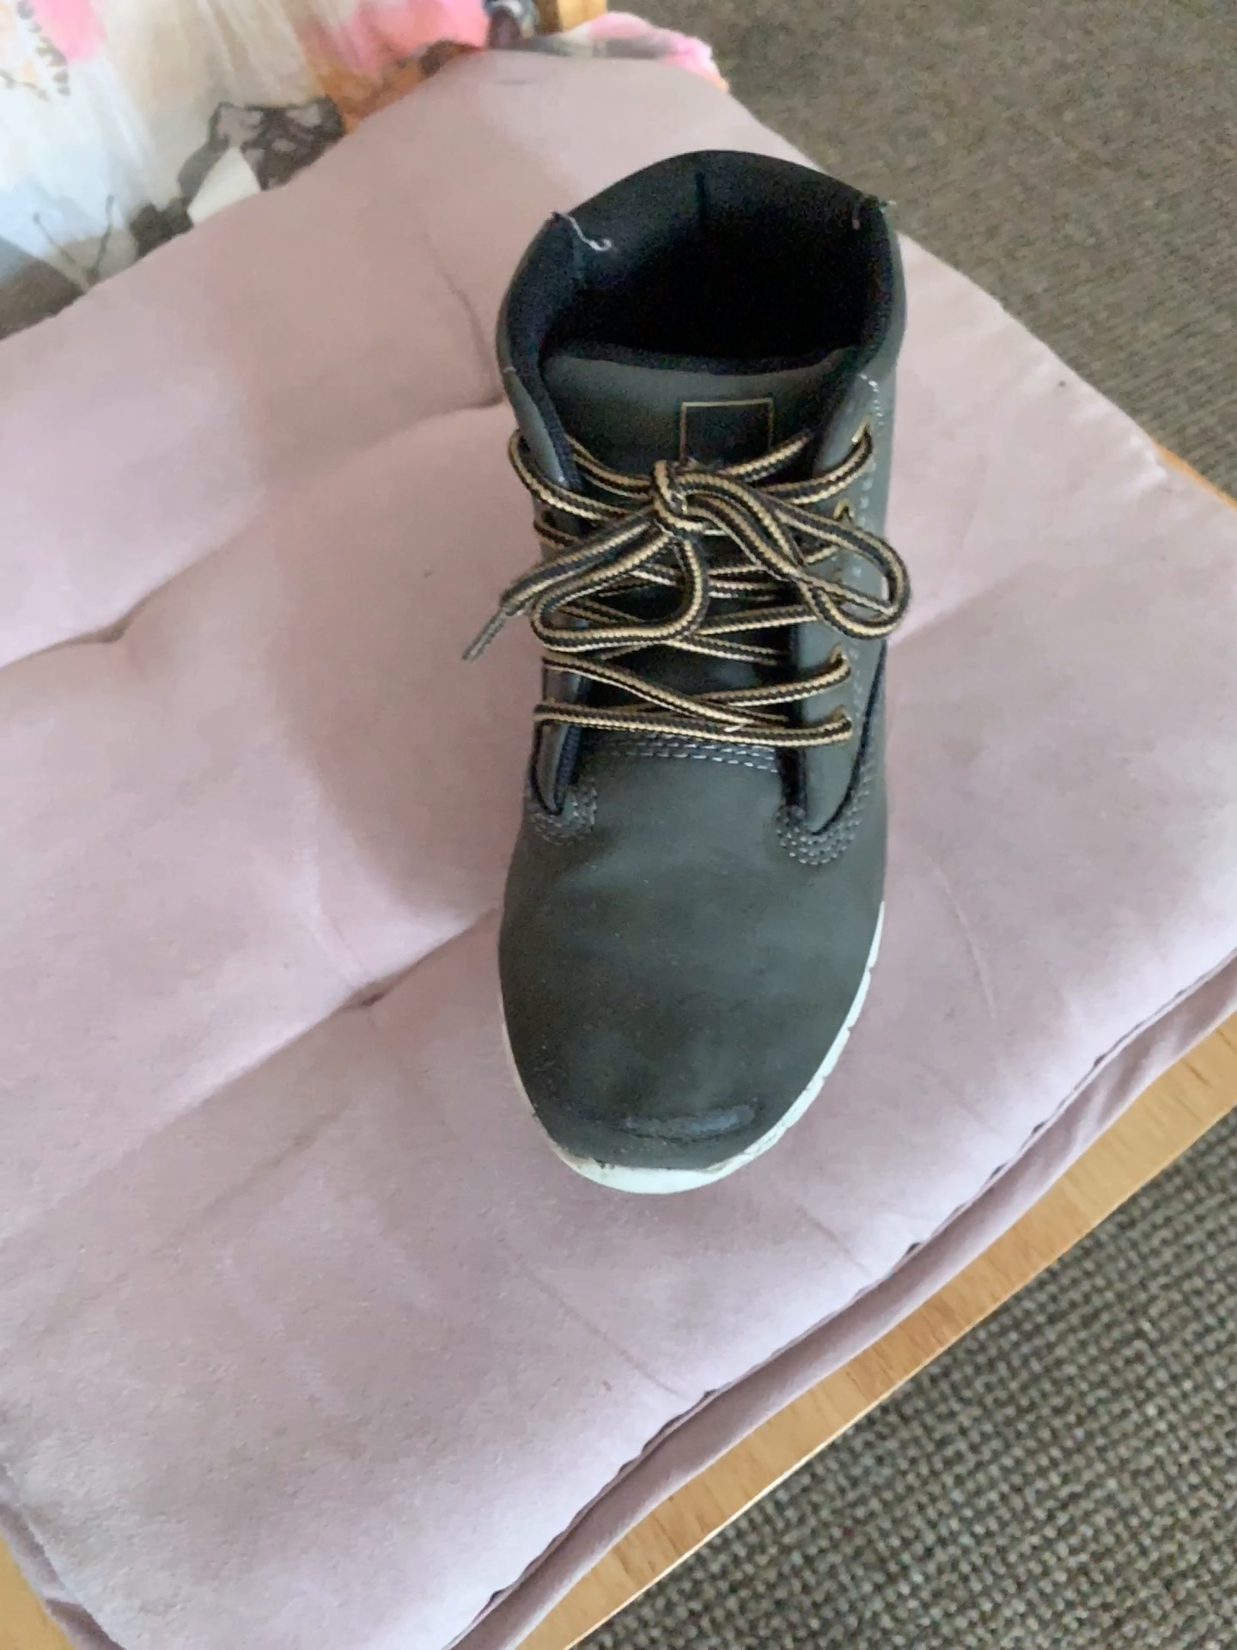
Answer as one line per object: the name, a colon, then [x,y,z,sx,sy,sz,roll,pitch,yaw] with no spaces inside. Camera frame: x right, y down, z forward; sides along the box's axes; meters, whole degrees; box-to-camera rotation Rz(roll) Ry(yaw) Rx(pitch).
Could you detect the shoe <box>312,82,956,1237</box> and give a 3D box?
shoe: [0.013,-0.033,0.303,0.100,0.129,0.231,4,68,3]
